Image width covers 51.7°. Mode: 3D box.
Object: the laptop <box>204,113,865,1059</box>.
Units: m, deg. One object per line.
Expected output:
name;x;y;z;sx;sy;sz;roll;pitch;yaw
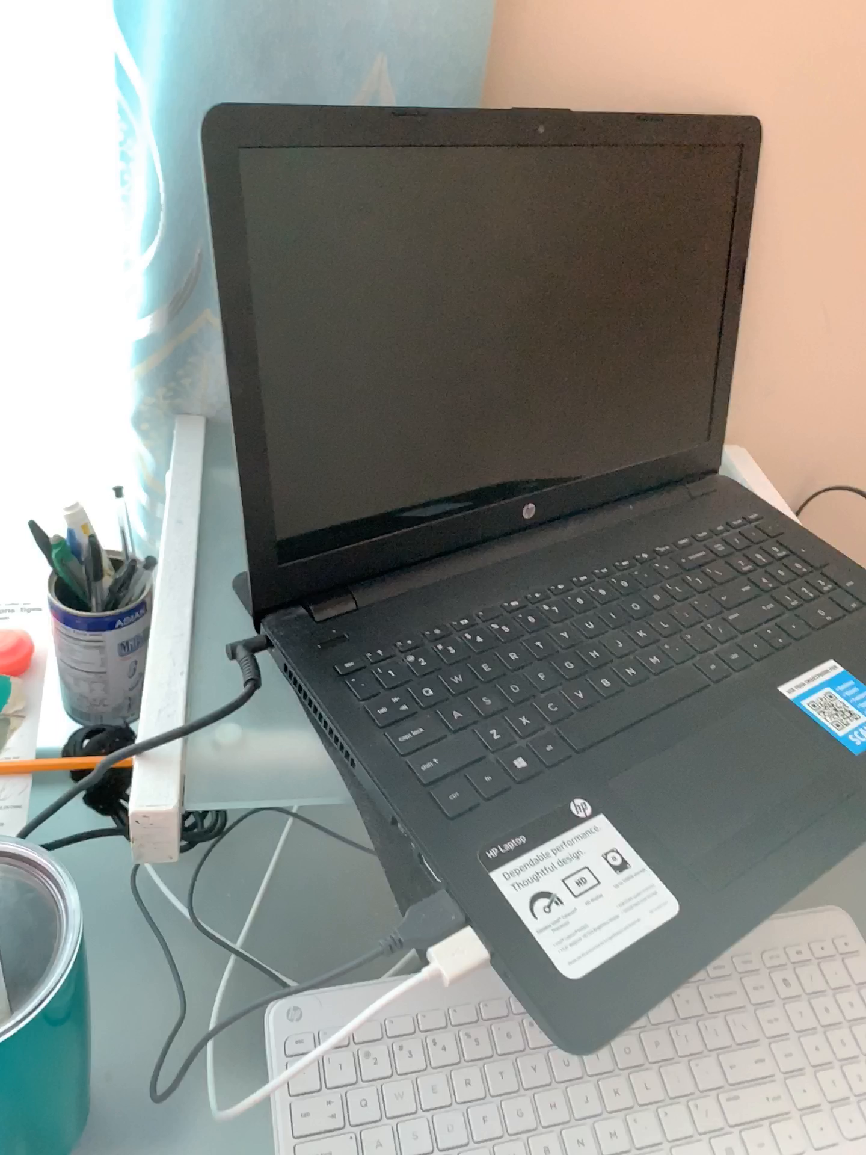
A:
laptop;0.125;-0.058;0.427;0.364;0.222;0.308;-18;46;-32
